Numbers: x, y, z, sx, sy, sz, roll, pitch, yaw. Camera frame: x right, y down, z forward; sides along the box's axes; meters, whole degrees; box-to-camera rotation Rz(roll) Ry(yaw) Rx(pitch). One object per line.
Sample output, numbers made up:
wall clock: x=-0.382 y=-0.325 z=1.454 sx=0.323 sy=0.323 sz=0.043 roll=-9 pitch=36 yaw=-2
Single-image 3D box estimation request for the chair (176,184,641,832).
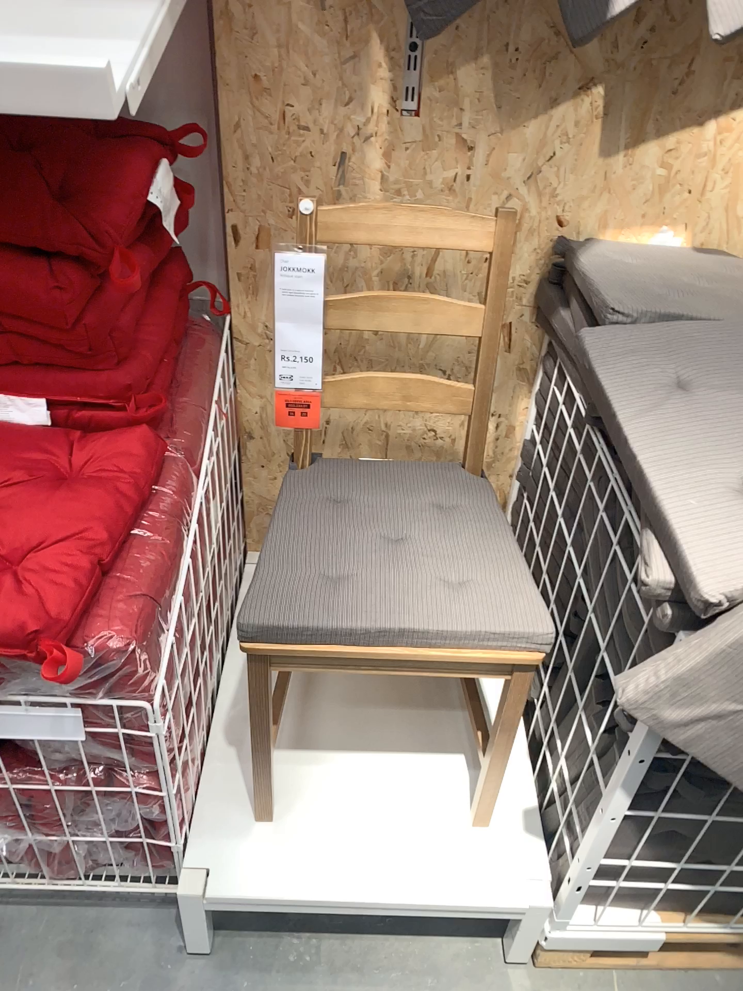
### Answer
chair: x=0.012 y=0.051 z=1.175 sx=0.440 sy=0.866 sz=0.502 roll=2 pitch=38 yaw=-2
